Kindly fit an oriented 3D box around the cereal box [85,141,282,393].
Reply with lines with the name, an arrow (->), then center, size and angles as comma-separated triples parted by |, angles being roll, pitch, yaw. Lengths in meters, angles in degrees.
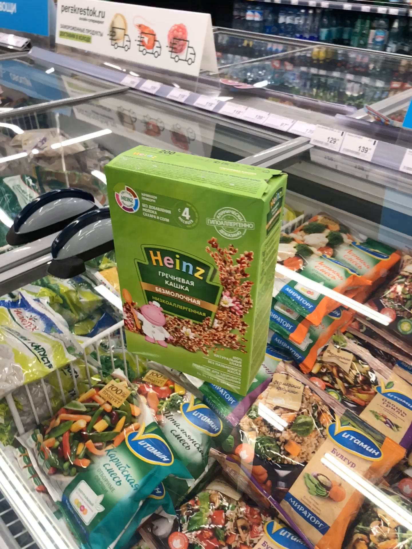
cereal box -> -0.019, -0.003, 0.392 | 0.140, 0.189, 0.050 | 16, 38, 21
